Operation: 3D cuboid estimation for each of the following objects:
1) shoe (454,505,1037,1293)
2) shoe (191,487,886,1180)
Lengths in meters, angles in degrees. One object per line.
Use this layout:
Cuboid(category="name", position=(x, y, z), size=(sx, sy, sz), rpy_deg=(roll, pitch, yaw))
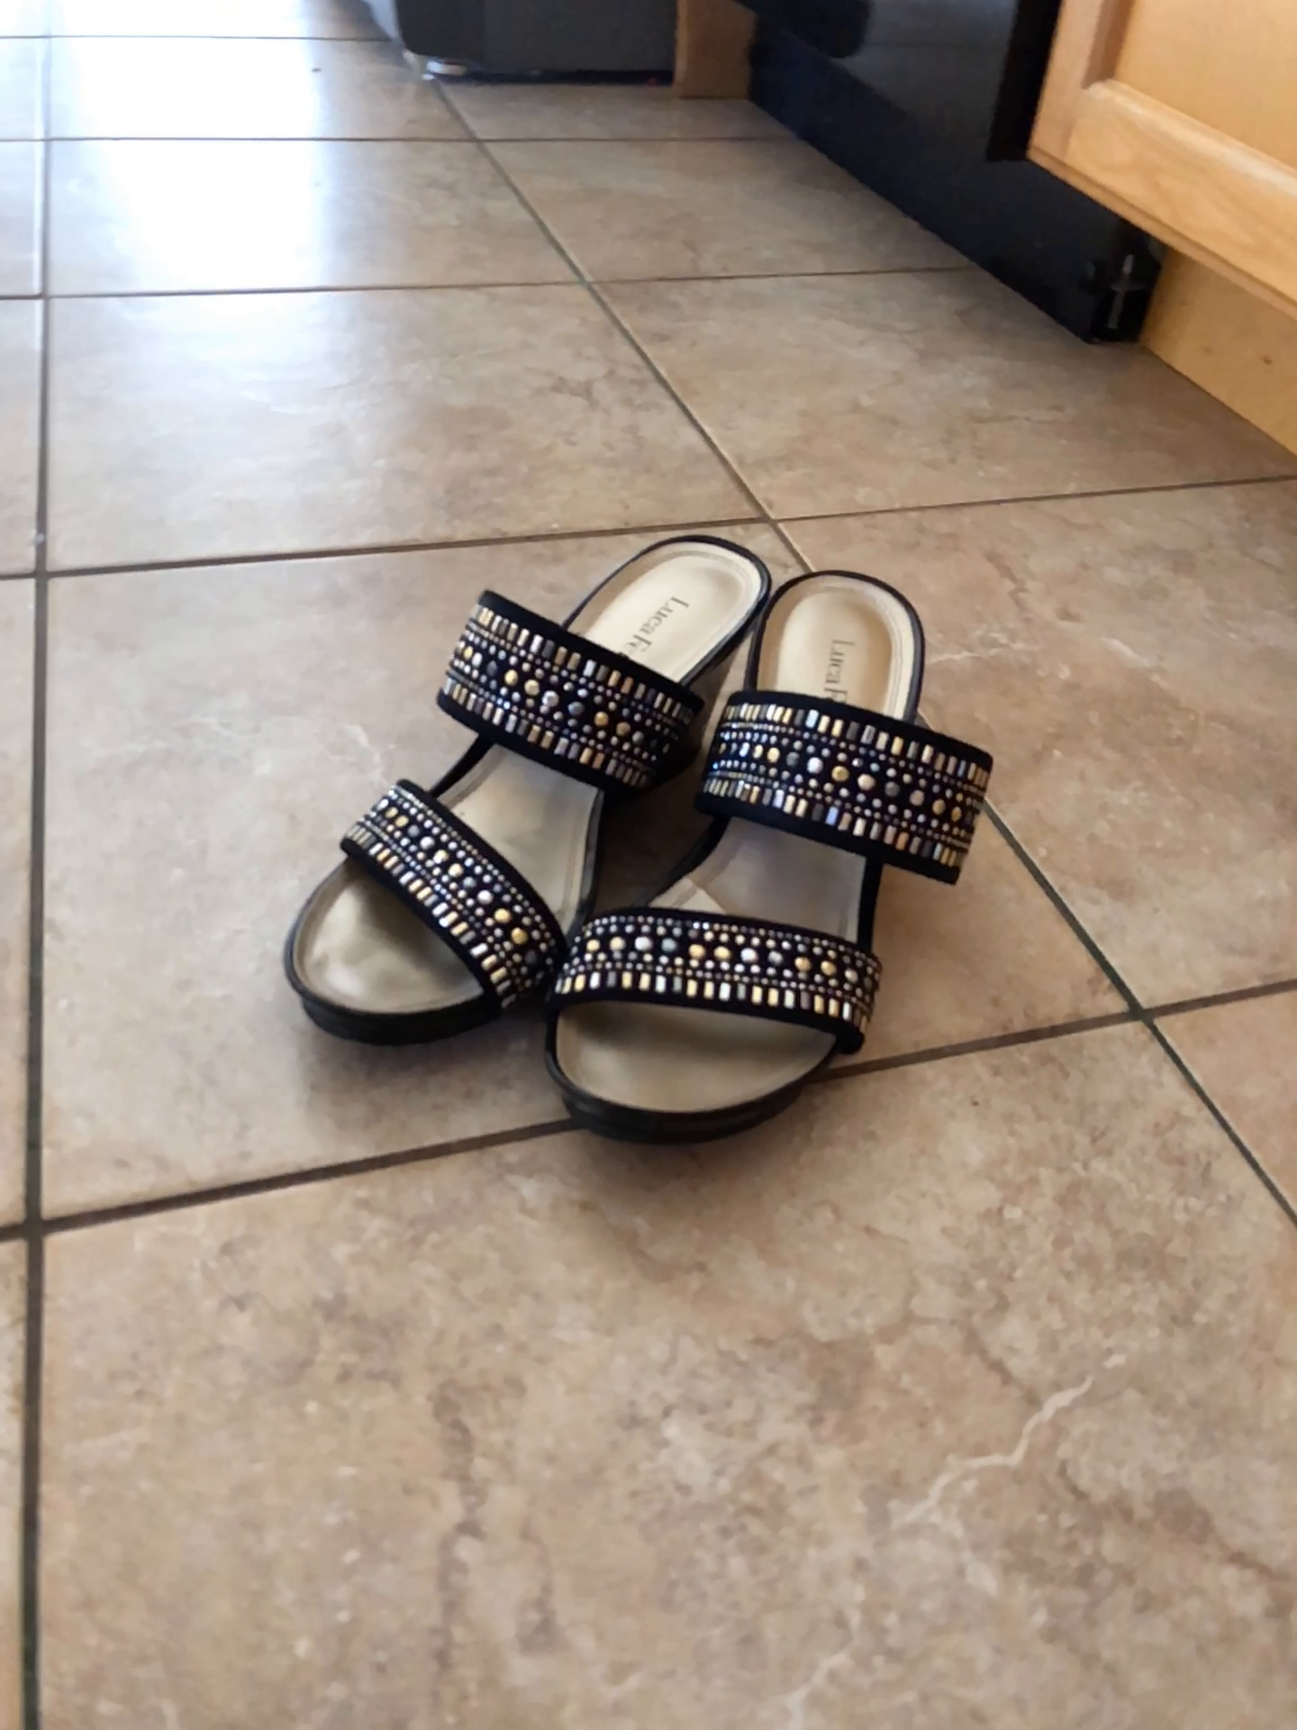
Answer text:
Cuboid(category="shoe", position=(0.038, -0.006, 0.432), size=(0.110, 0.100, 0.221), rpy_deg=(15, 41, 11))
Cuboid(category="shoe", position=(-0.023, -0.024, 0.455), size=(0.090, 0.100, 0.221), rpy_deg=(27, 45, 23))
